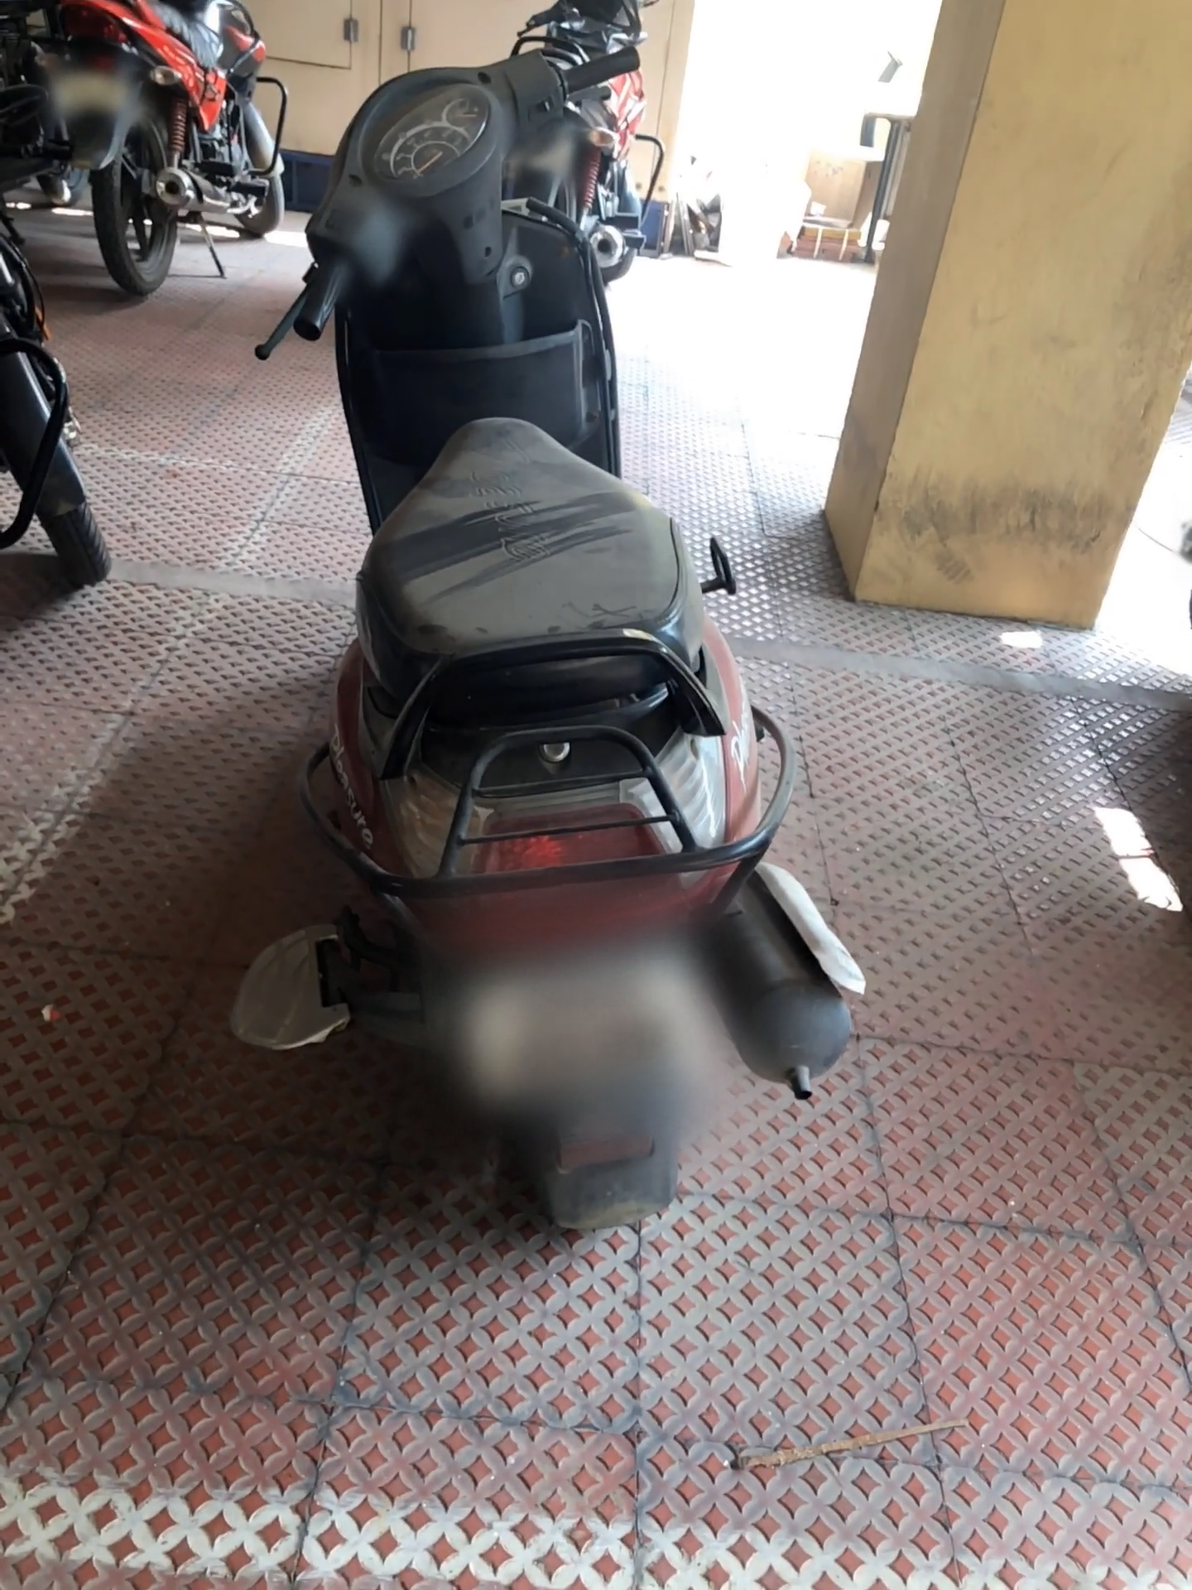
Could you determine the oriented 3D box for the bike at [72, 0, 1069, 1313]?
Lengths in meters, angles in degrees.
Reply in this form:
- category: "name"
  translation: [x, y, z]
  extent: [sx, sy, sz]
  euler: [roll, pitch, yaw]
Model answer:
- category: "bike"
  translation: [-0.249, -0.377, 1.721]
  extent: [0.599, 1.030, 1.659]
  euler: [-1, 34, -15]
